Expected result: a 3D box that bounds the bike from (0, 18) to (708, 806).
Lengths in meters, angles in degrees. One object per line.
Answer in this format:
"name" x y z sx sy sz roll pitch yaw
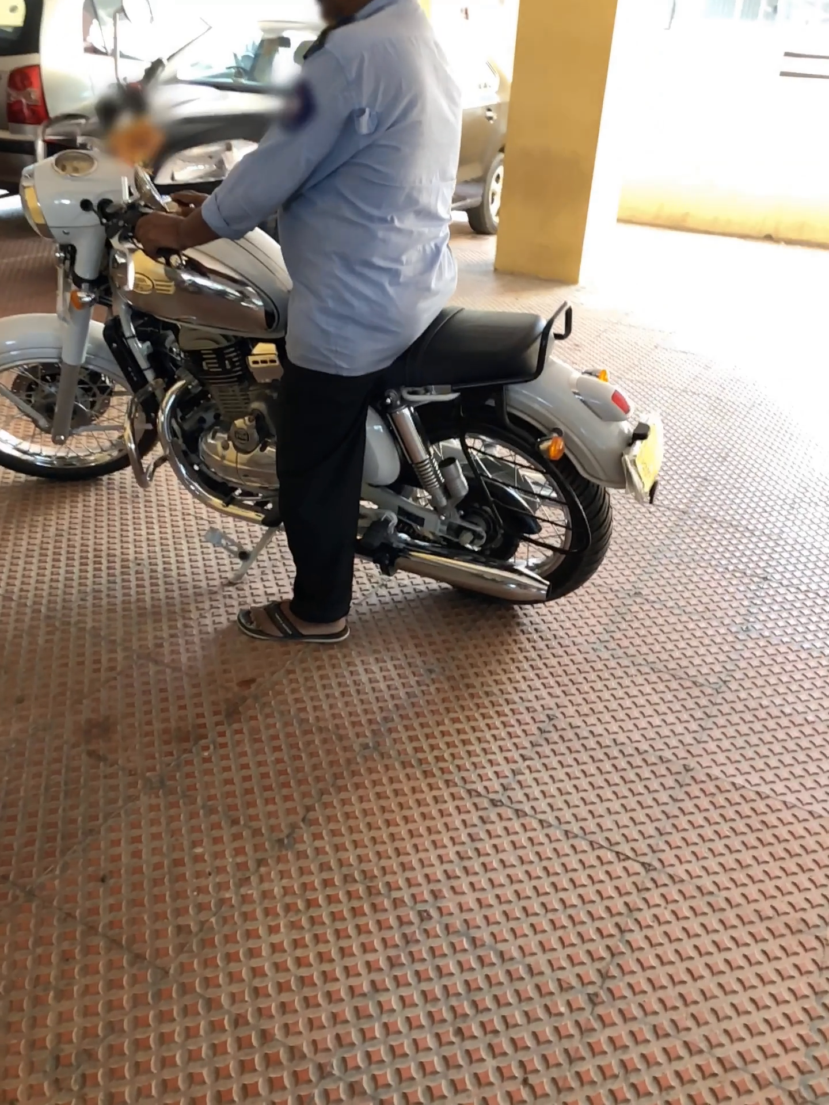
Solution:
"bike" -0.494 -0.414 2.076 1.897 1.233 0.849 13 30 14
